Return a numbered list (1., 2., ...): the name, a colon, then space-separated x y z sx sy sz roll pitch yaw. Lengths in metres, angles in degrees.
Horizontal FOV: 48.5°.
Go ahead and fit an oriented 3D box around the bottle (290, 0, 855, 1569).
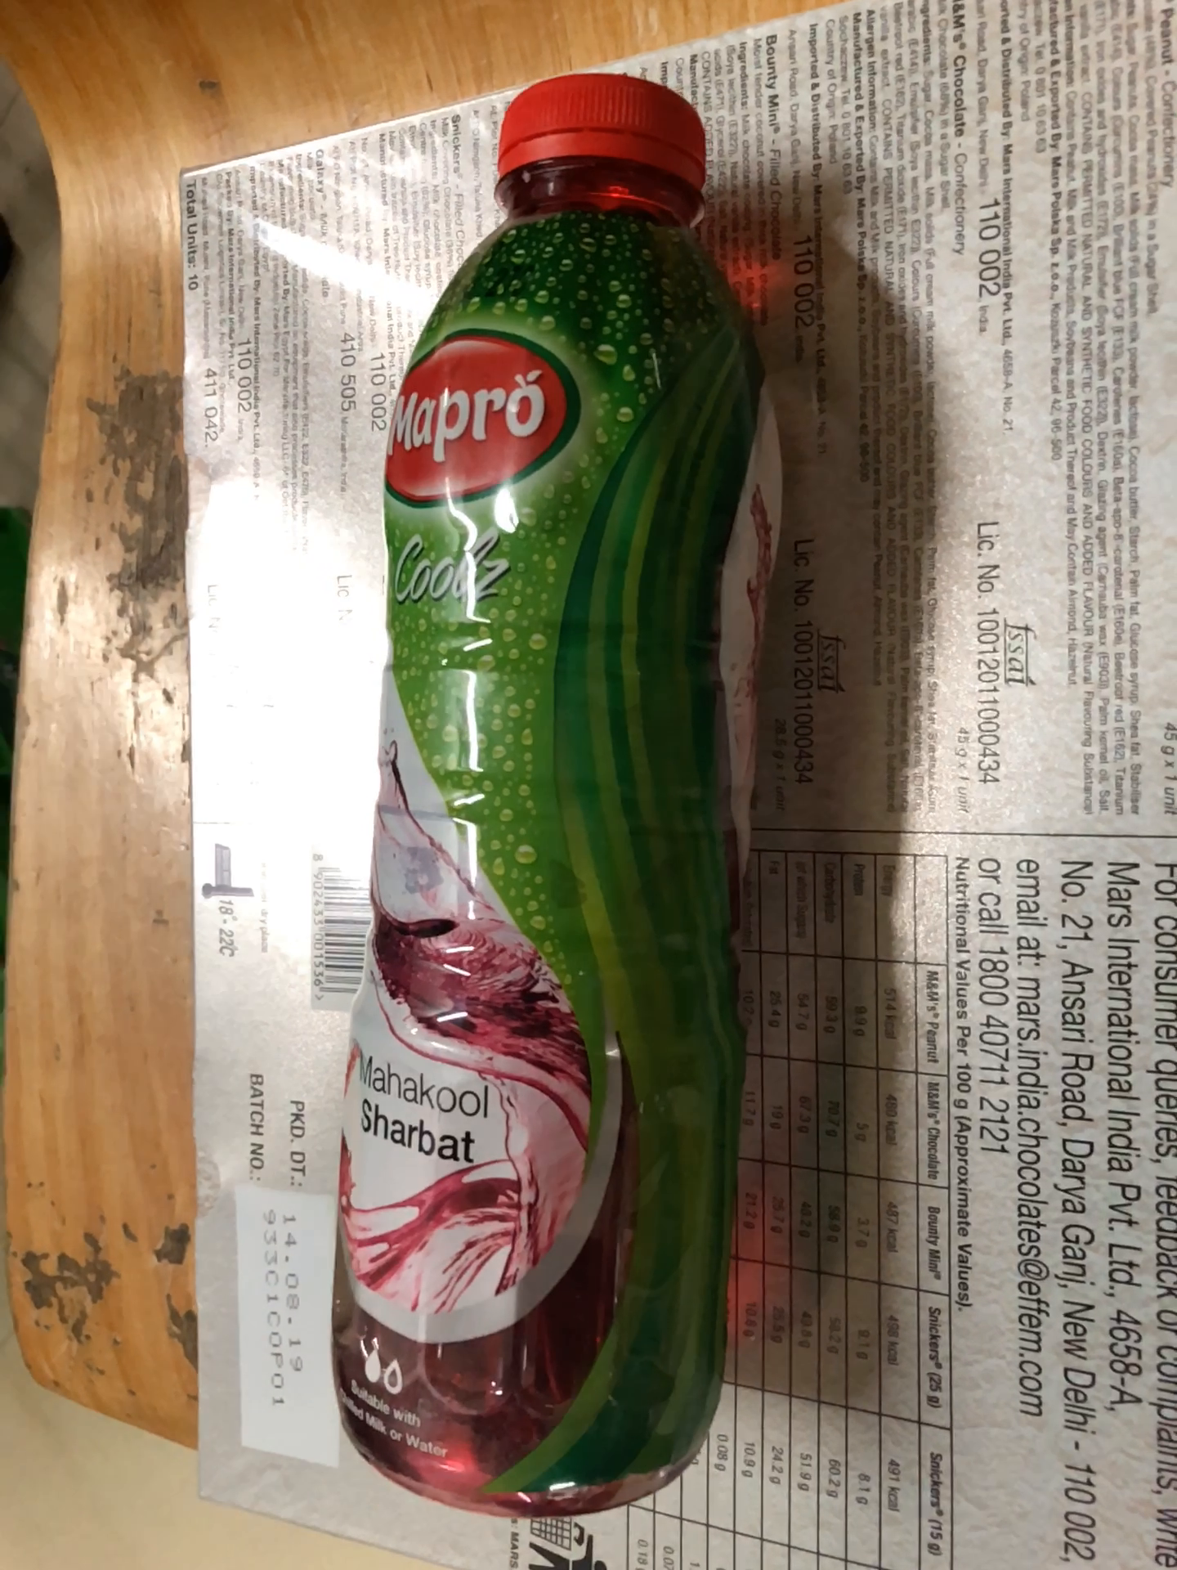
1. bottle: -0.005 0.002 0.260 0.080 0.060 0.280 6 95 38
